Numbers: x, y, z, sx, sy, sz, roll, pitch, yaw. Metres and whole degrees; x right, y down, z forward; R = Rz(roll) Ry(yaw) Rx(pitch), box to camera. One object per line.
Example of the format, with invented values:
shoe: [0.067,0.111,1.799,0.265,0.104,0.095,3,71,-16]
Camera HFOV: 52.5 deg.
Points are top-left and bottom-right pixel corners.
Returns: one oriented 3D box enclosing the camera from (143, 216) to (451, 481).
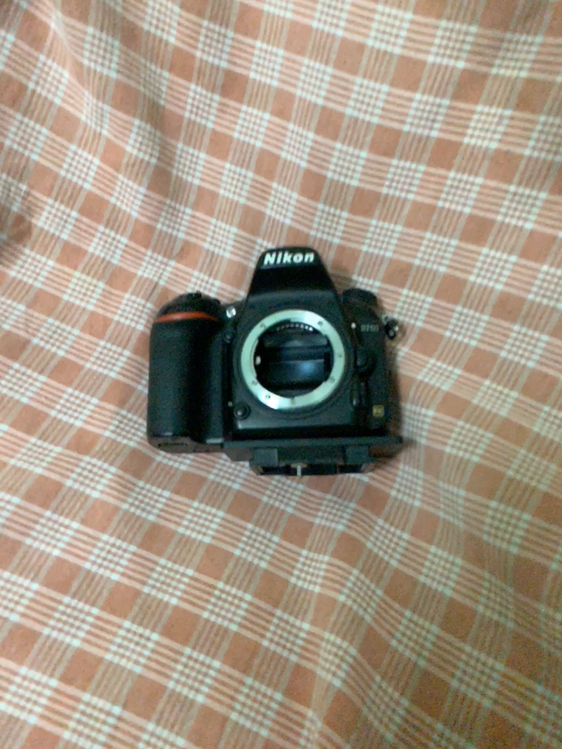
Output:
camera: [0.007,-0.009,0.326,0.145,0.085,0.125,-3,74,2]
